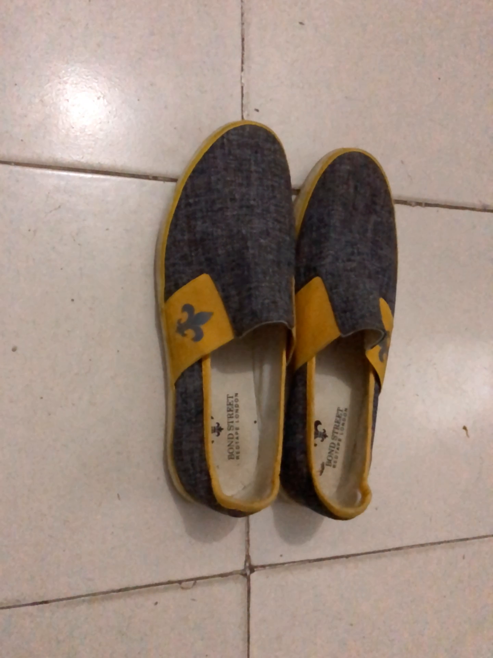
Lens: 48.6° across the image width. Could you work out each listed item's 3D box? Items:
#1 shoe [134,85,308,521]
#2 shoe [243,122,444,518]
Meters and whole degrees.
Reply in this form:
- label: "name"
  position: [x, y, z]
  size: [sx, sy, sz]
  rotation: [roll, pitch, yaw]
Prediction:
- label: "shoe"
  position: [-0.023, -0.016, 0.424]
  size: [0.100, 0.100, 0.290]
  rotation: [3, 85, -19]
- label: "shoe"
  position: [0.071, -0.003, 0.420]
  size: [0.090, 0.100, 0.260]
  rotation: [9, 84, -19]
